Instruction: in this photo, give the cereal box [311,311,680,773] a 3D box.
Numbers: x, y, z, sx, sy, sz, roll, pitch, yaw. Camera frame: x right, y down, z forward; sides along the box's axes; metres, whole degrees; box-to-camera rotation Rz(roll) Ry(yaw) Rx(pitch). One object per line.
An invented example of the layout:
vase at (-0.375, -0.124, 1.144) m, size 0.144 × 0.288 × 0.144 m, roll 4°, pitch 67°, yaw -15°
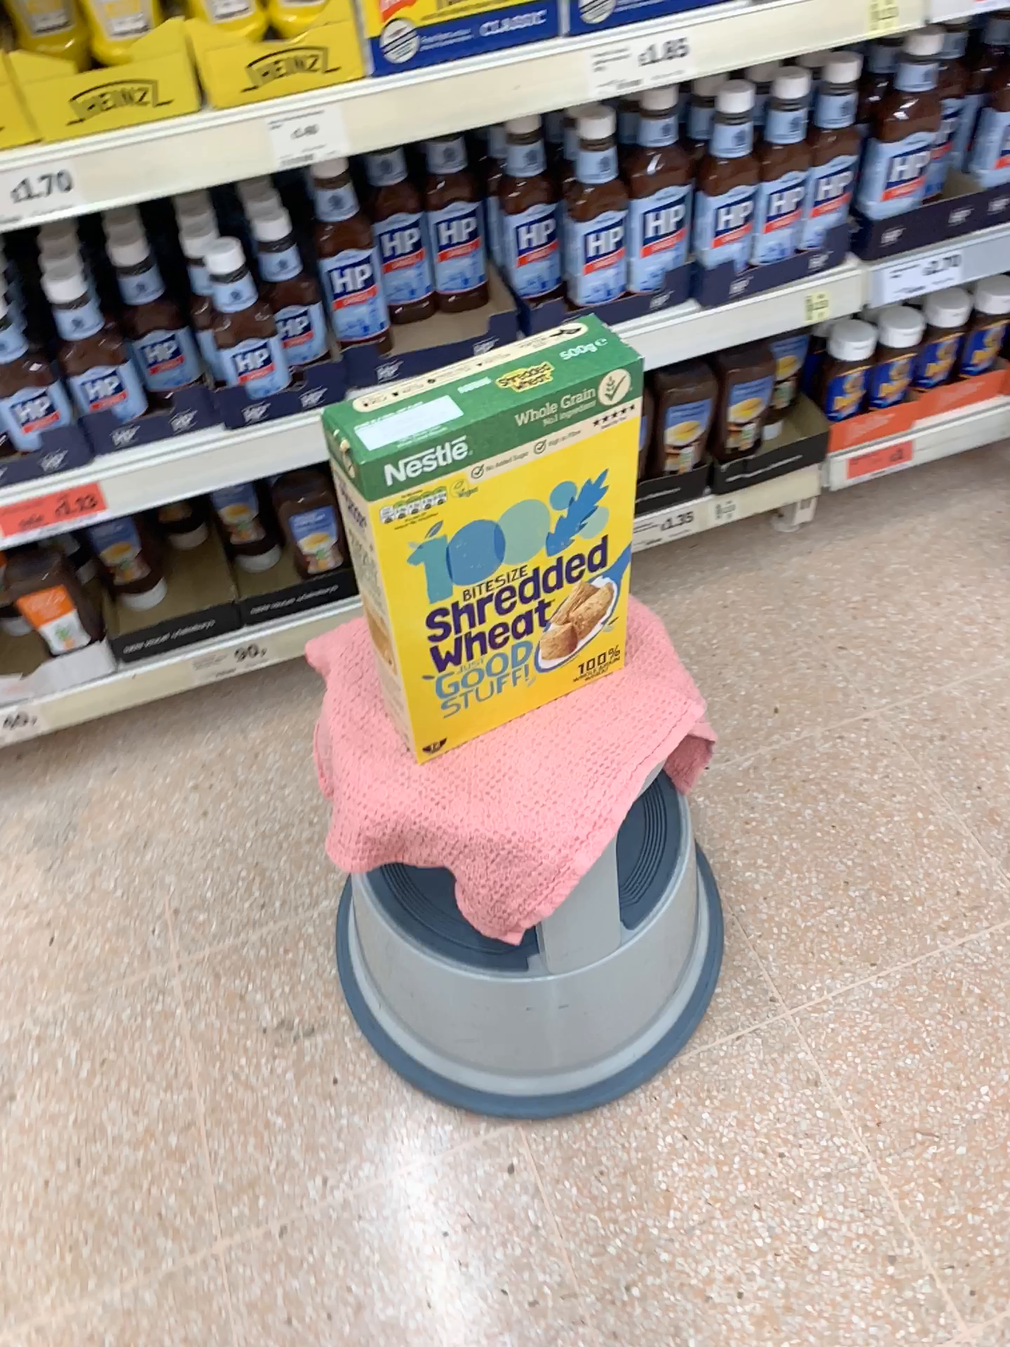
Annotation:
cereal box at (0.005, -0.079, 0.716) m, size 0.210 × 0.278 × 0.071 m, roll -23°, pitch 52°, yaw -15°
